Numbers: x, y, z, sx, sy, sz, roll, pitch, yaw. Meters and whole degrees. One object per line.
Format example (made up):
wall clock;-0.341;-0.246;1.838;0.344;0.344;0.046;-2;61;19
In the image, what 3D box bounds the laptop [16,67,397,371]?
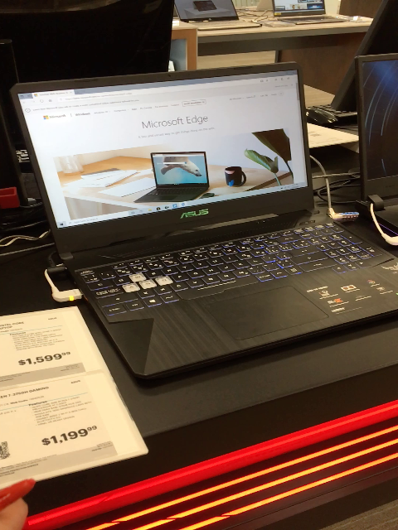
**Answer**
laptop;0.046;-0.087;0.612;0.387;0.207;0.325;-14;36;-20
